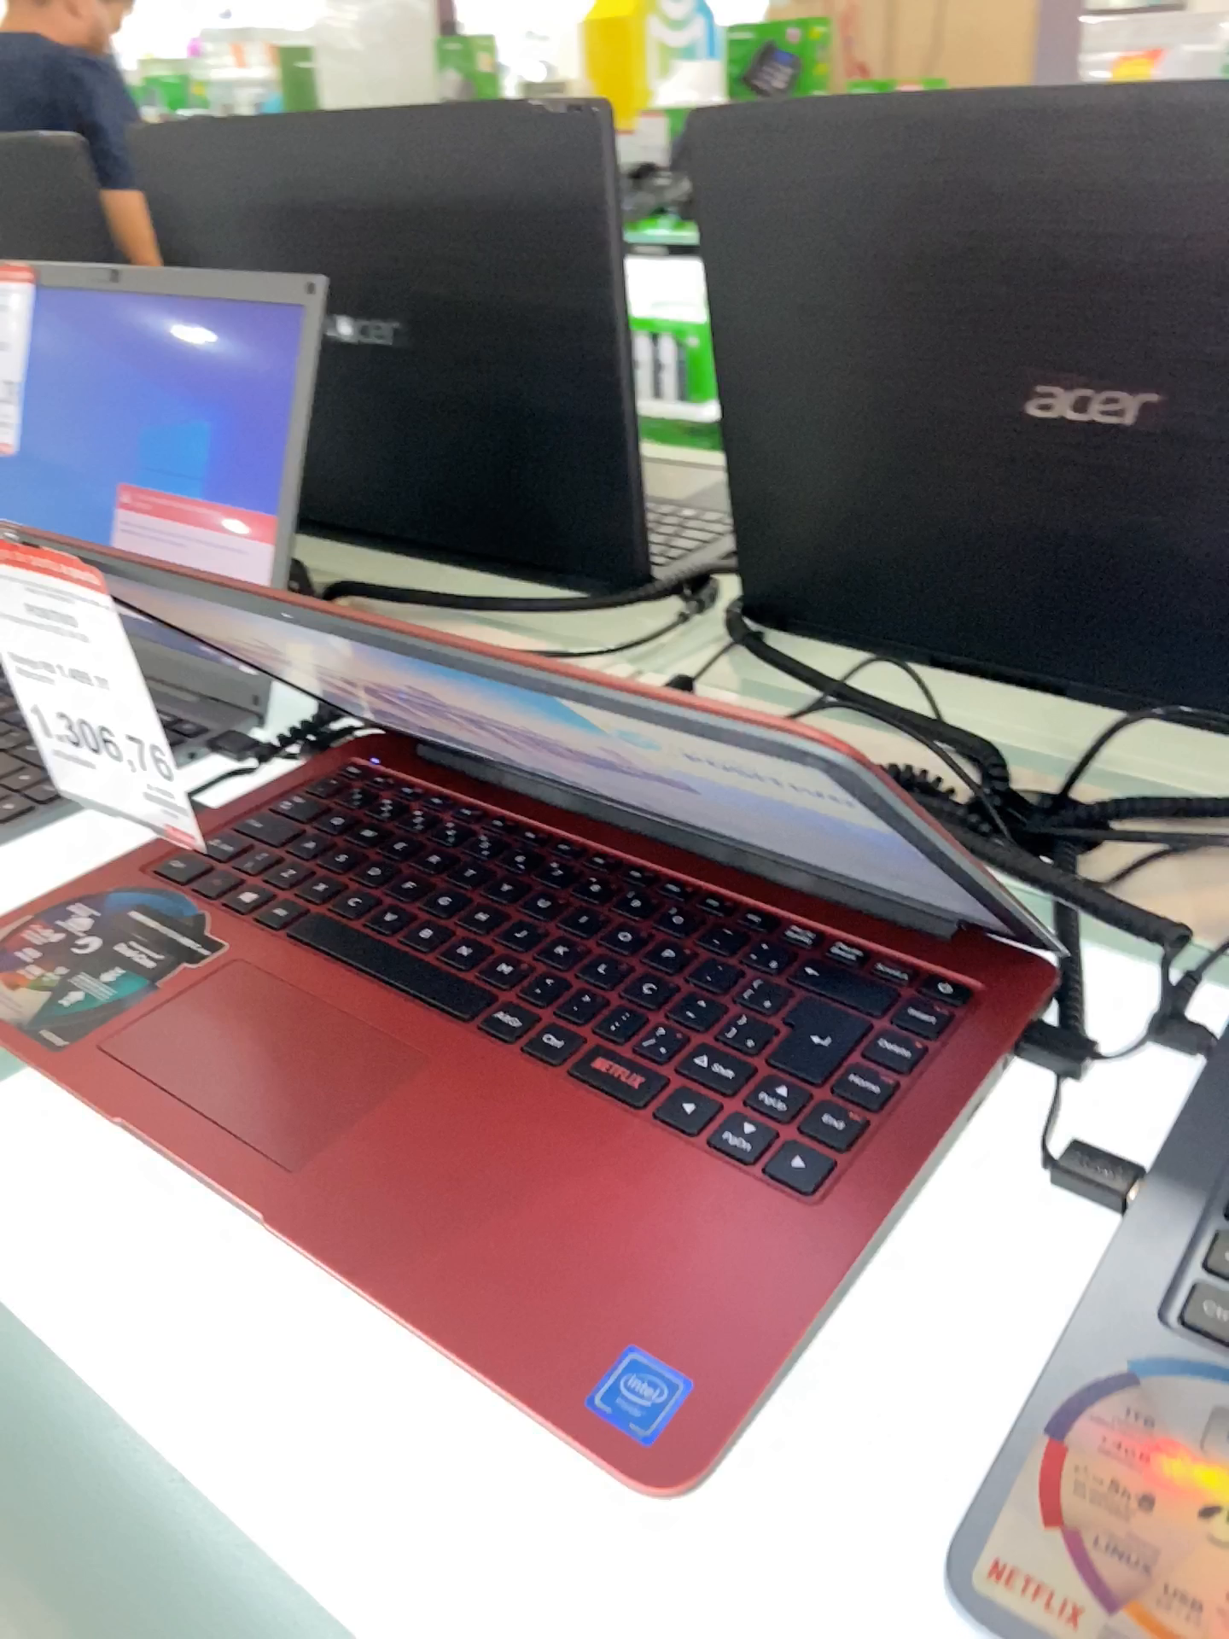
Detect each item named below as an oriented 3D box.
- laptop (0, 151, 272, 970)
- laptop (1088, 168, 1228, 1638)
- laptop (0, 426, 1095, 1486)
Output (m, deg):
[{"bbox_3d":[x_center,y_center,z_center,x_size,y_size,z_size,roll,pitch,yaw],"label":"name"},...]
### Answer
[{"bbox_3d":[-0.330,-0.155,0.569,0.235,0.159,0.287,21,38,19],"label":"laptop"},{"bbox_3d":[0.293,0.050,0.175,0.385,0.207,0.278,18,38,30],"label":"laptop"},{"bbox_3d":[-0.056,-0.012,0.390,0.321,0.144,0.212,18,36,34],"label":"laptop"}]
